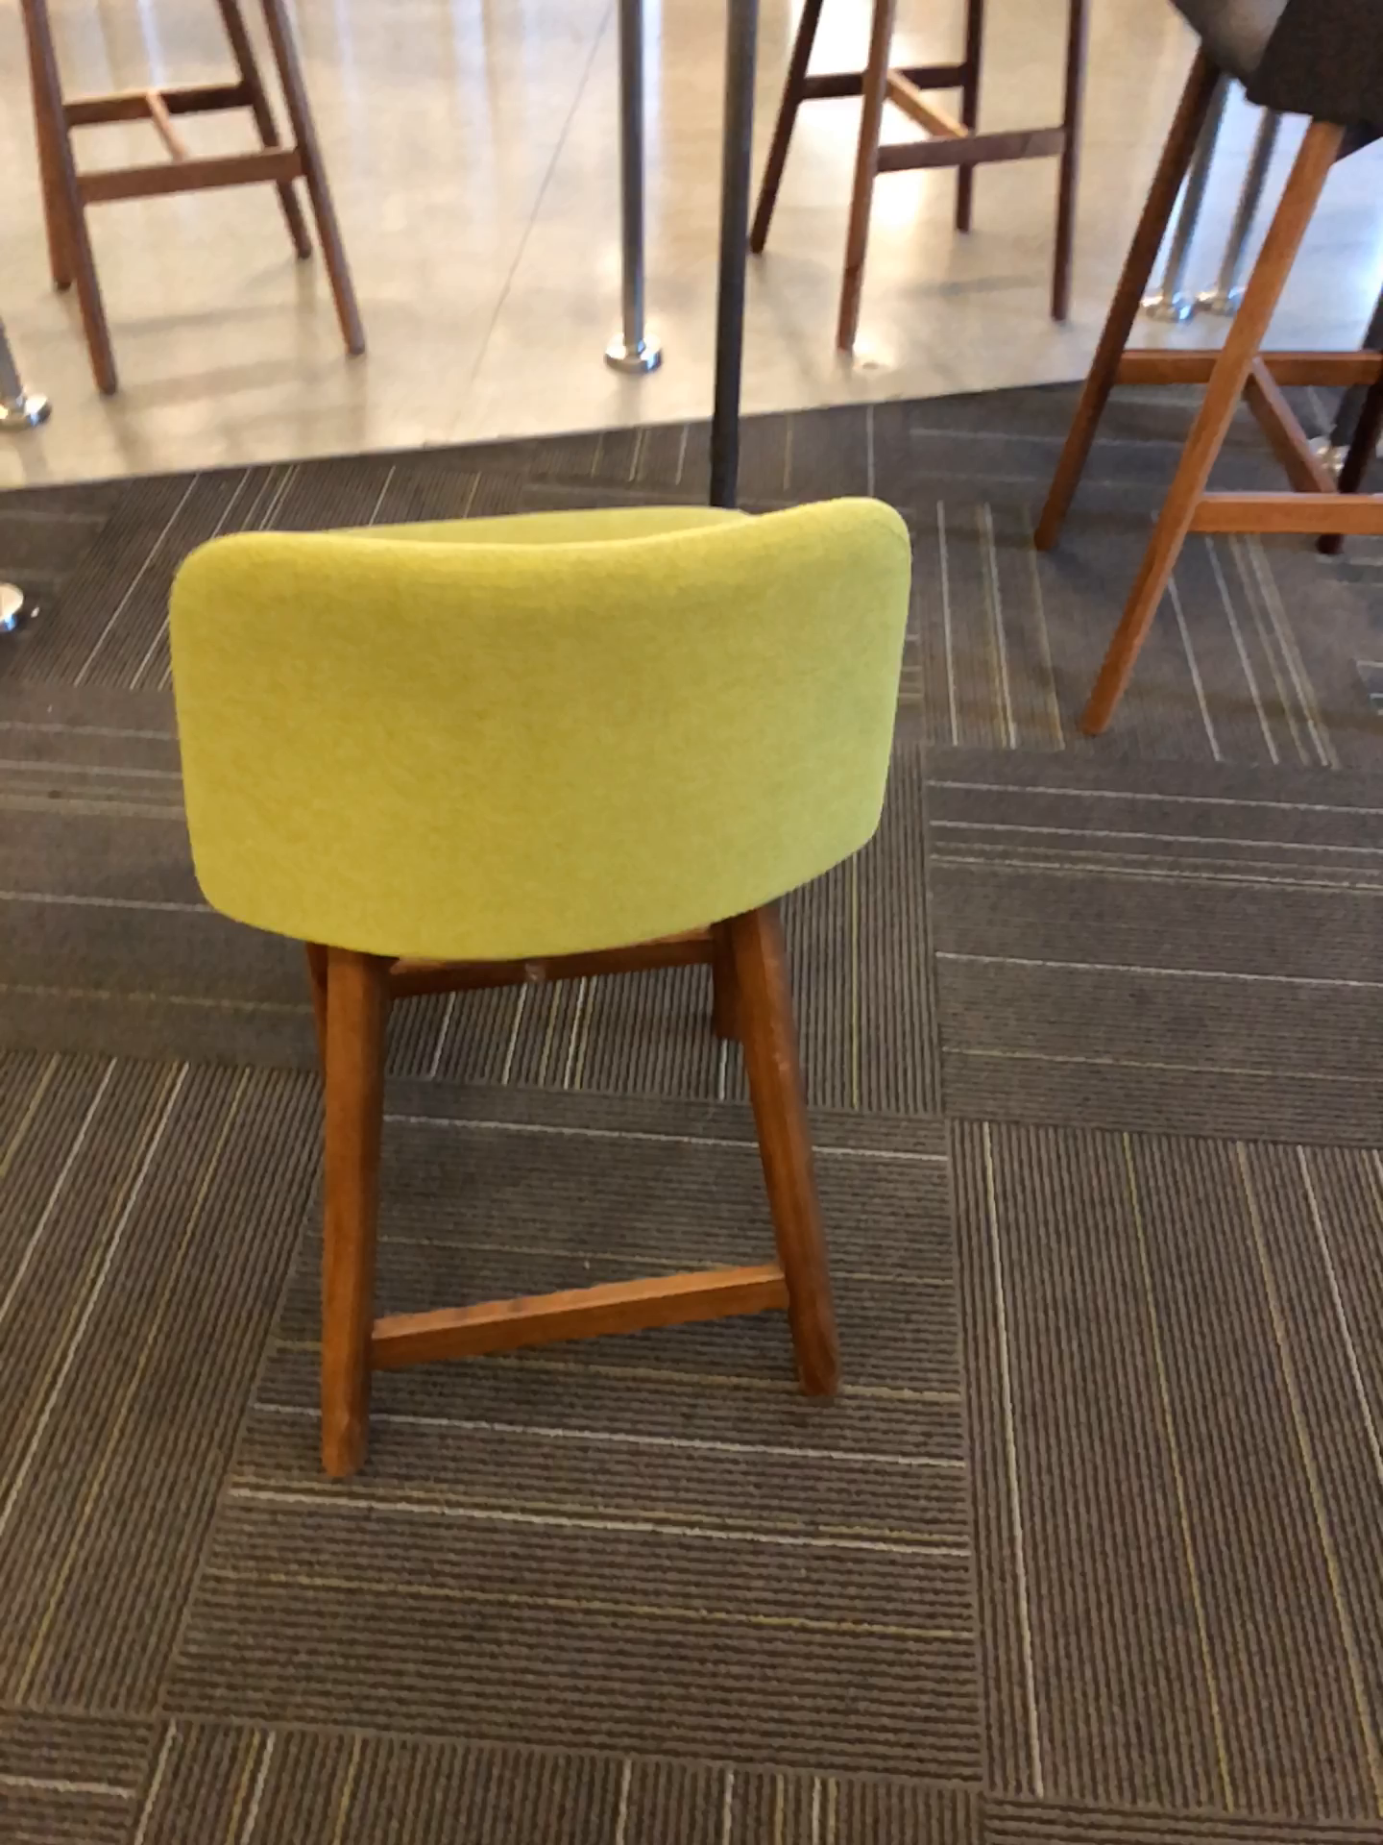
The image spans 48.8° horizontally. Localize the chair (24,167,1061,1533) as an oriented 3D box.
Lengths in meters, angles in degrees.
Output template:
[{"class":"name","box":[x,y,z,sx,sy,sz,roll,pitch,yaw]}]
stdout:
[{"class":"chair","box":[-0.109,-0.013,1.161,0.460,0.876,0.512,-6,45,-8]}]
